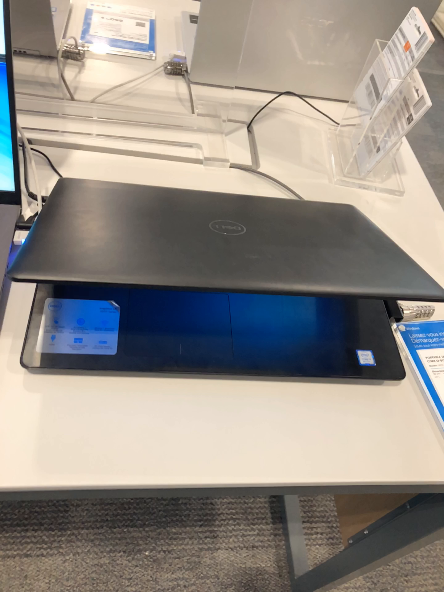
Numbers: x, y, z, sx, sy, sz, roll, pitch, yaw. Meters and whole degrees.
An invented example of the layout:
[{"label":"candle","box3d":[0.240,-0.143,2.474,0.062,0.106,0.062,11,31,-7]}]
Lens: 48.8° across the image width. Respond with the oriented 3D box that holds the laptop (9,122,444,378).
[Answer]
[{"label":"laptop","box3d":[0.010,-0.049,0.502,0.365,0.080,0.246,4,51,-11]}]
